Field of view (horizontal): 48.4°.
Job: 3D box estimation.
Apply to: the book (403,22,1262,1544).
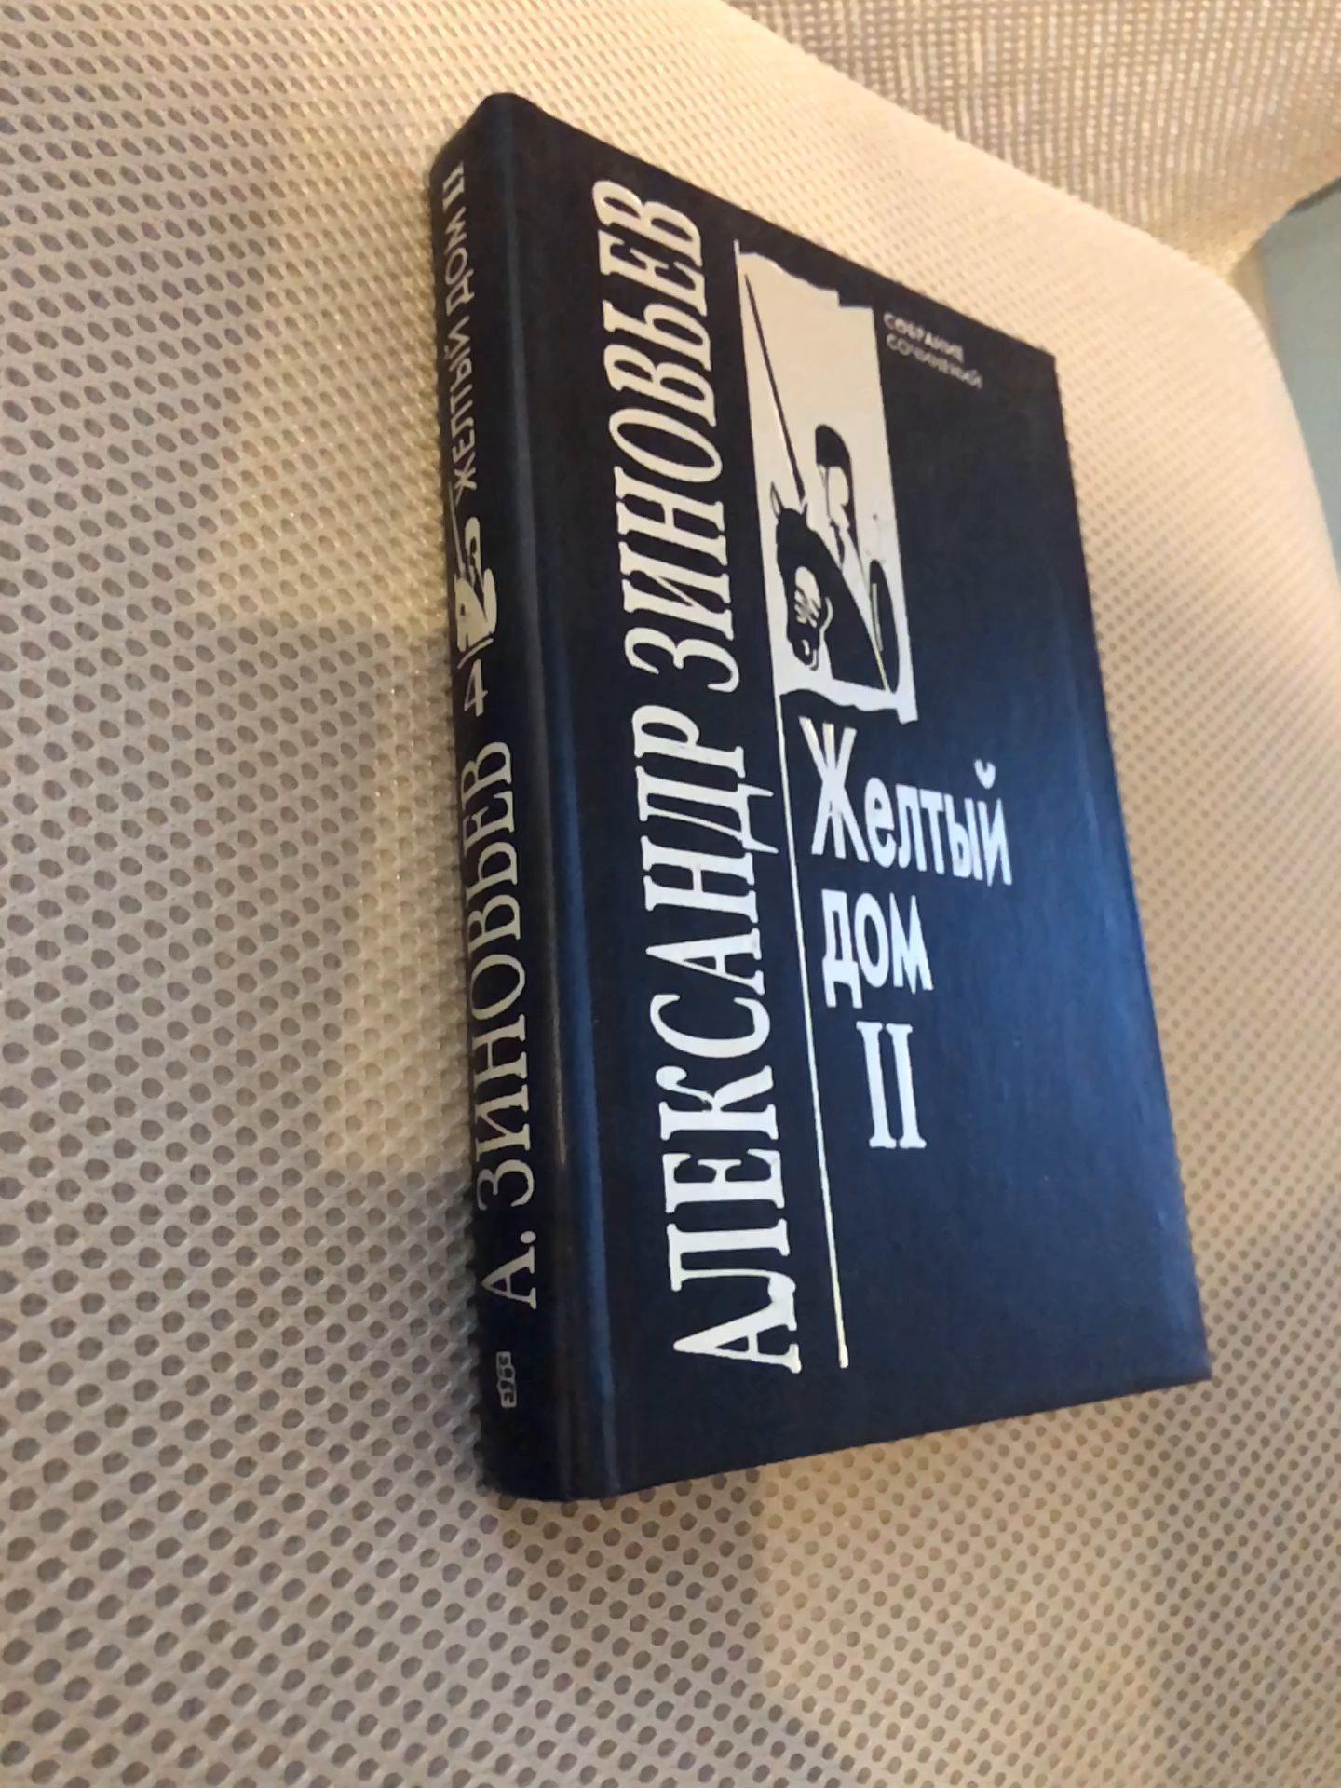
[{"bbox_3d":[0.029,-0.018,0.249,0.141,0.030,0.211,7,72,-37],"label":"book"}]
